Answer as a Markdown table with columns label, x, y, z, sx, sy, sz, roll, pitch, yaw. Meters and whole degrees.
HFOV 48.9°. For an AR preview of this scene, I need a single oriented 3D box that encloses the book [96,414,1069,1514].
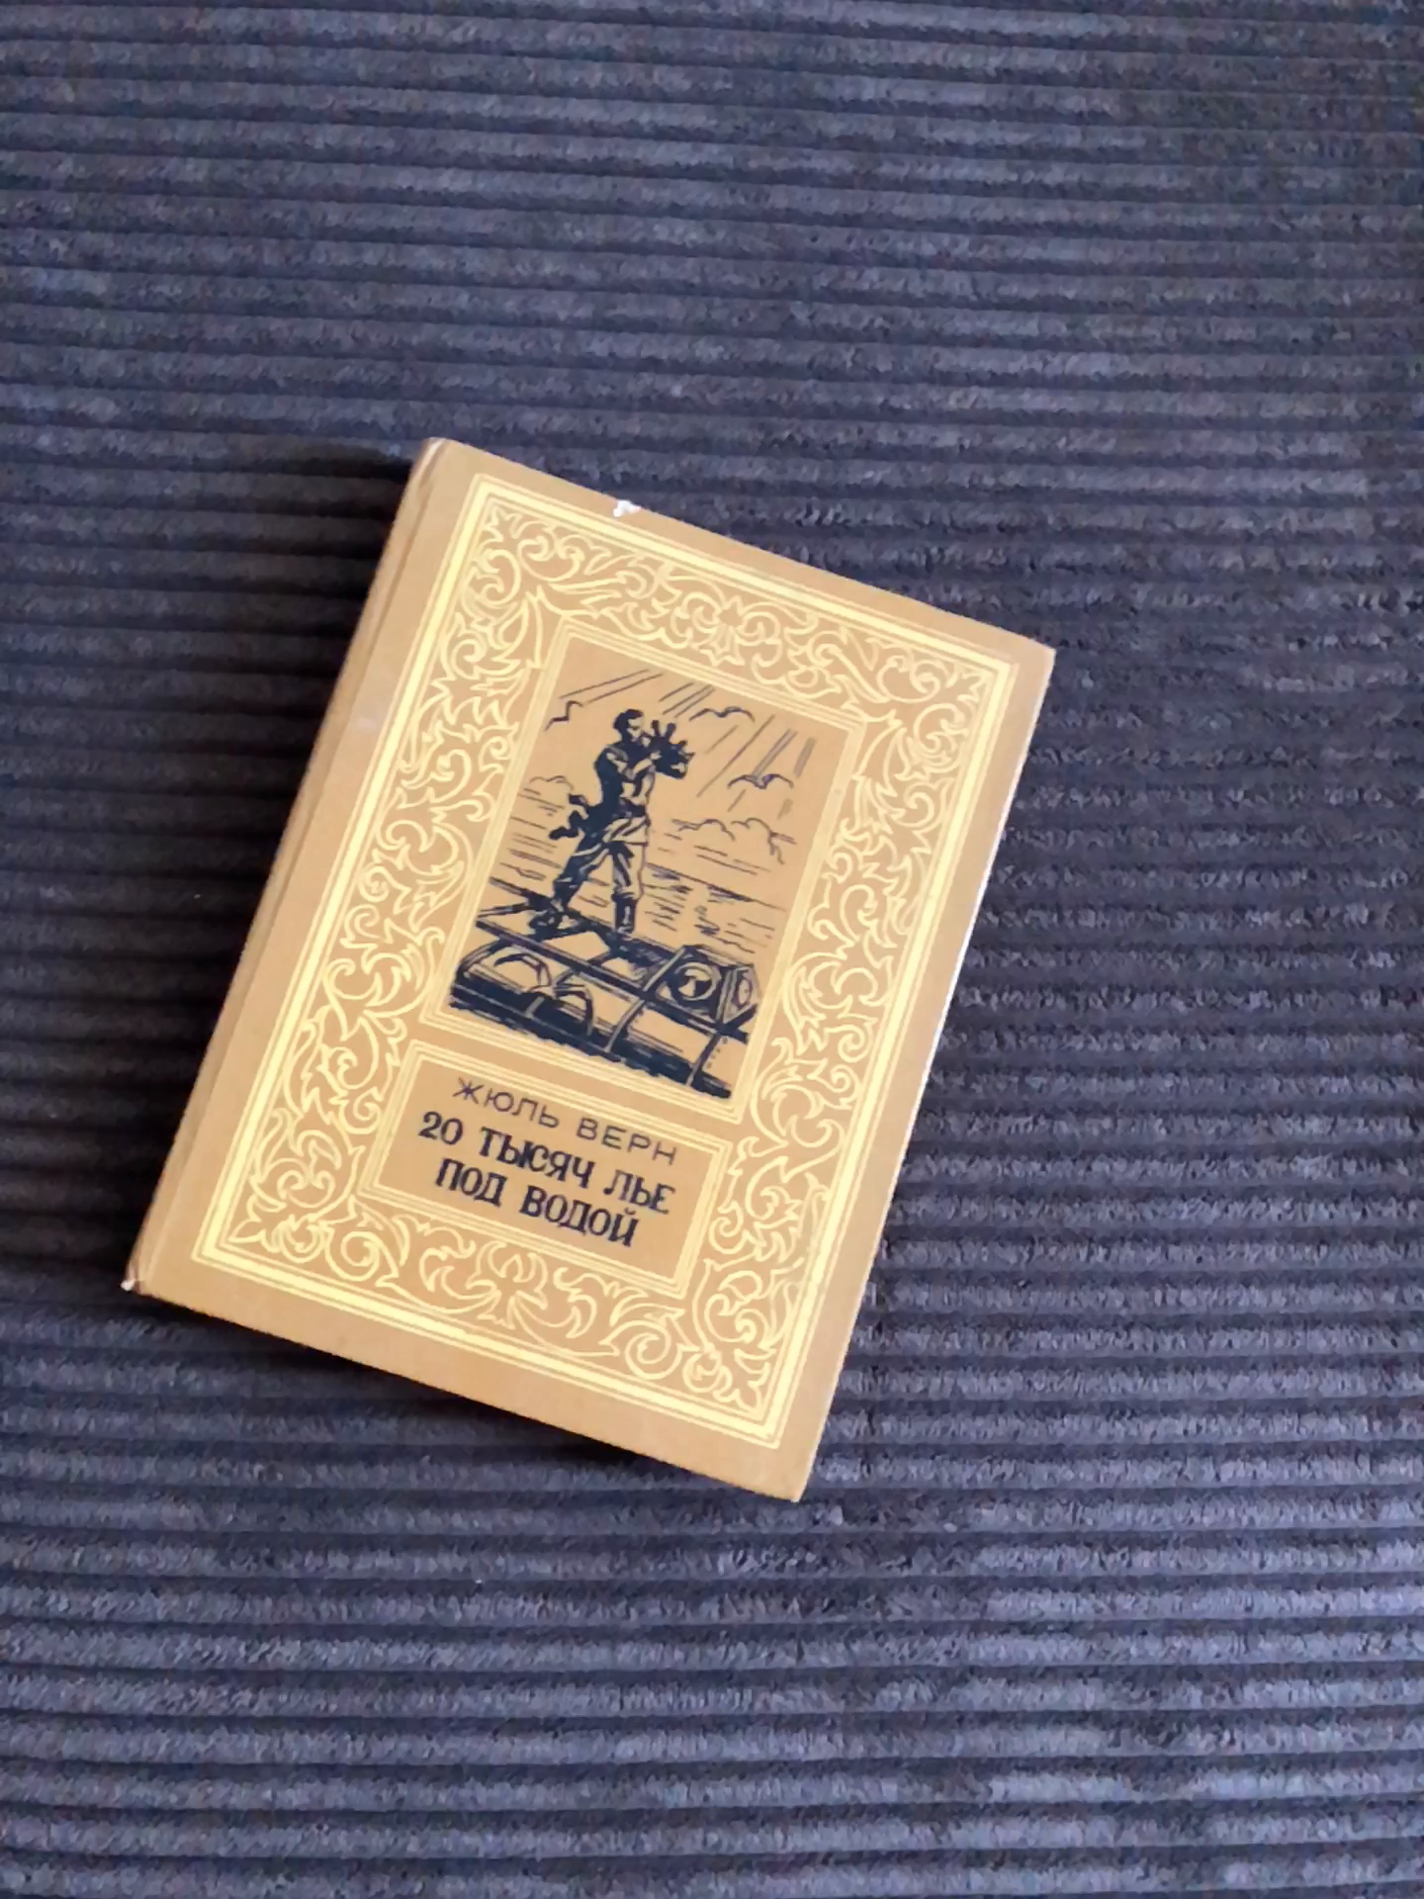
| label | x | y | z | sx | sy | sz | roll | pitch | yaw |
| --- | --- | --- | --- | --- | --- | --- | --- | --- | --- |
| book | -0.026 | 0.002 | 0.384 | 0.170 | 0.029 | 0.219 | 18 | 83 | -3 |
